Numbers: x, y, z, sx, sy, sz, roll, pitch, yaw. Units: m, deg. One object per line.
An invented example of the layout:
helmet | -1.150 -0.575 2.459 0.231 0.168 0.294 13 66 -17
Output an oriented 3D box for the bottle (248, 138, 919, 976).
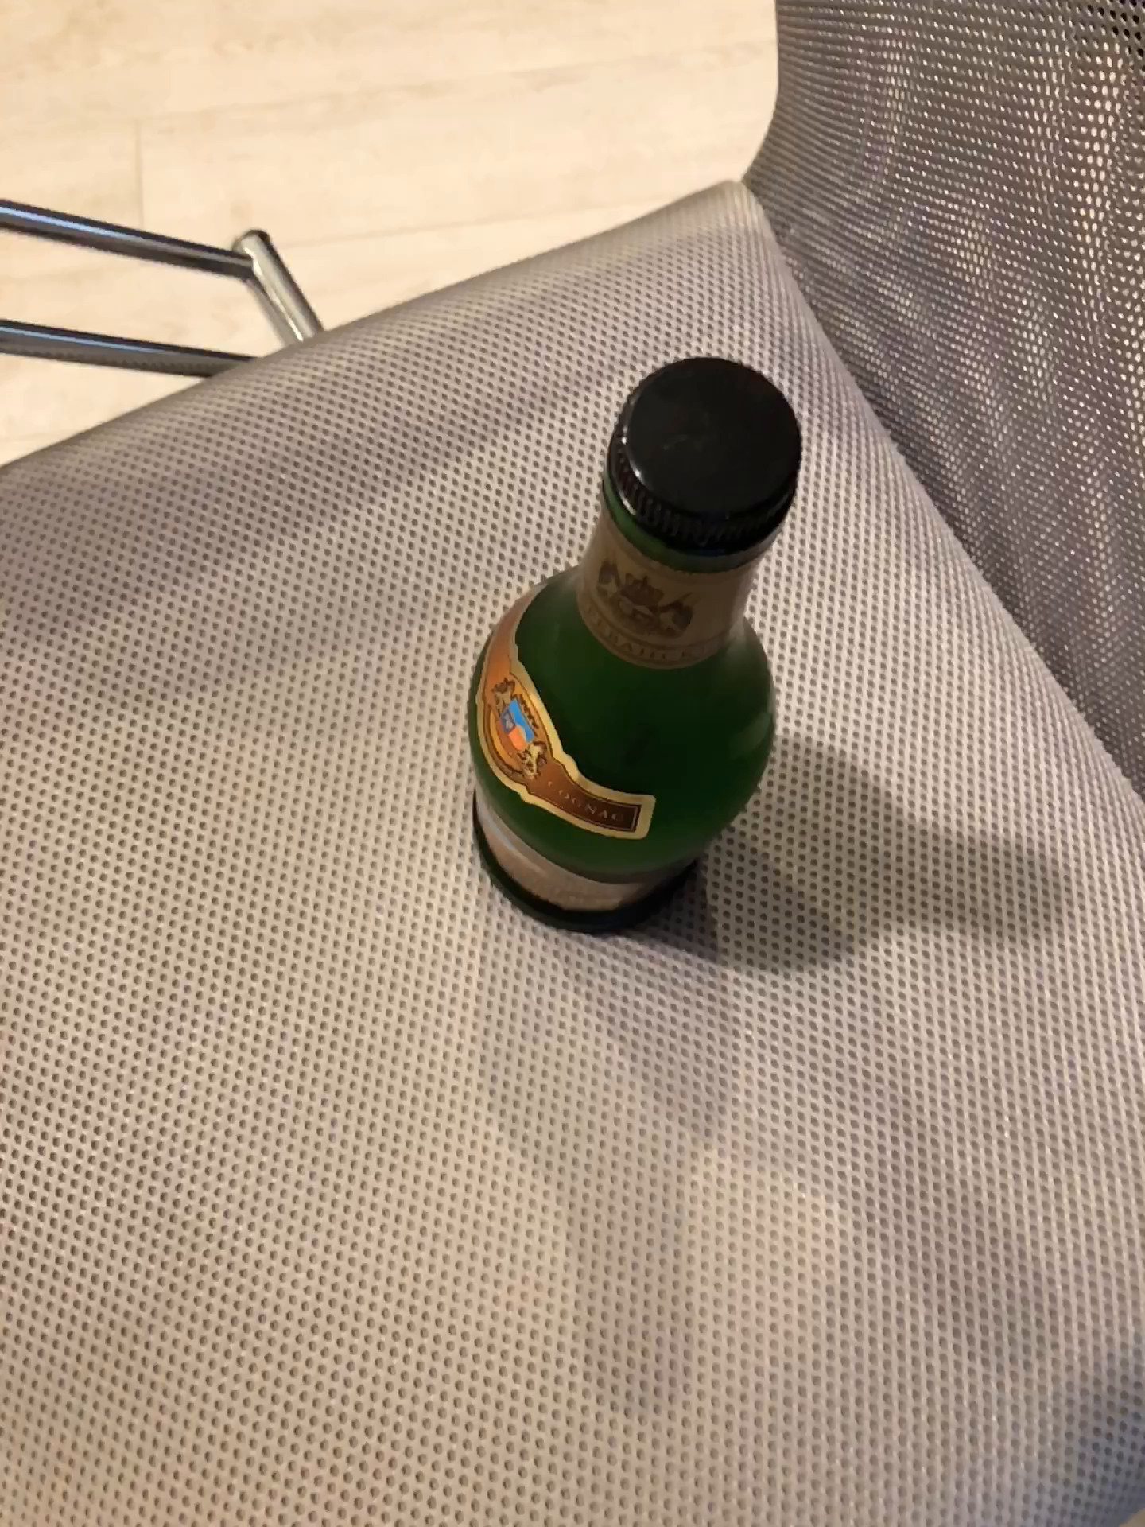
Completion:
bottle | 0.003 -0.016 0.302 0.074 0.239 0.078 0 73 1
